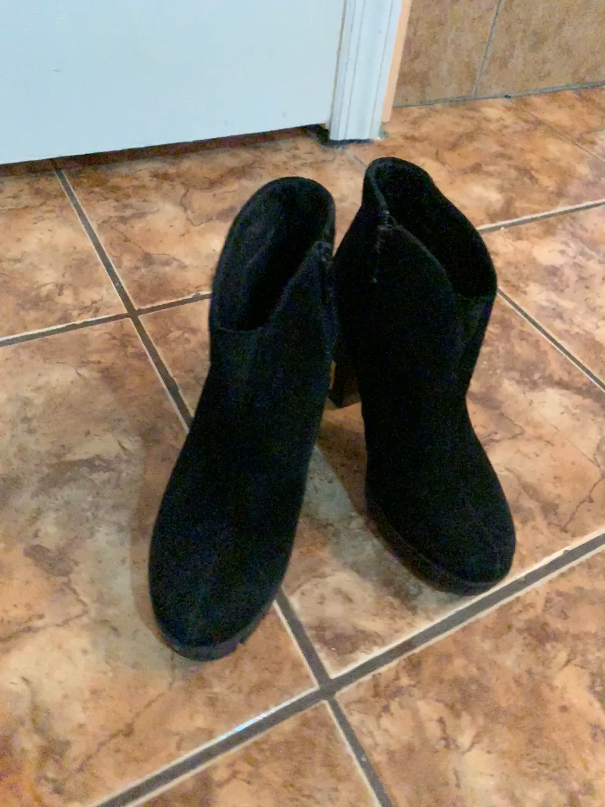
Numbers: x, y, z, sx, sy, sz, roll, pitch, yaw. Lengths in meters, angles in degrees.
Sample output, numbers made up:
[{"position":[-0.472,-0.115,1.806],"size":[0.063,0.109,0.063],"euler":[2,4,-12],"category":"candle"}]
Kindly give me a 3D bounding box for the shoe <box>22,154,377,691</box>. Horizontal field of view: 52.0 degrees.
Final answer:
[{"position":[-0.034,0.003,0.352],"size":[0.094,0.180,0.230],"euler":[12,47,5],"category":"shoe"}]

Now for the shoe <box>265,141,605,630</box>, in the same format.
[{"position":[0.069,-0.019,0.385],"size":[0.094,0.180,0.230],"euler":[-16,51,-21],"category":"shoe"}]
